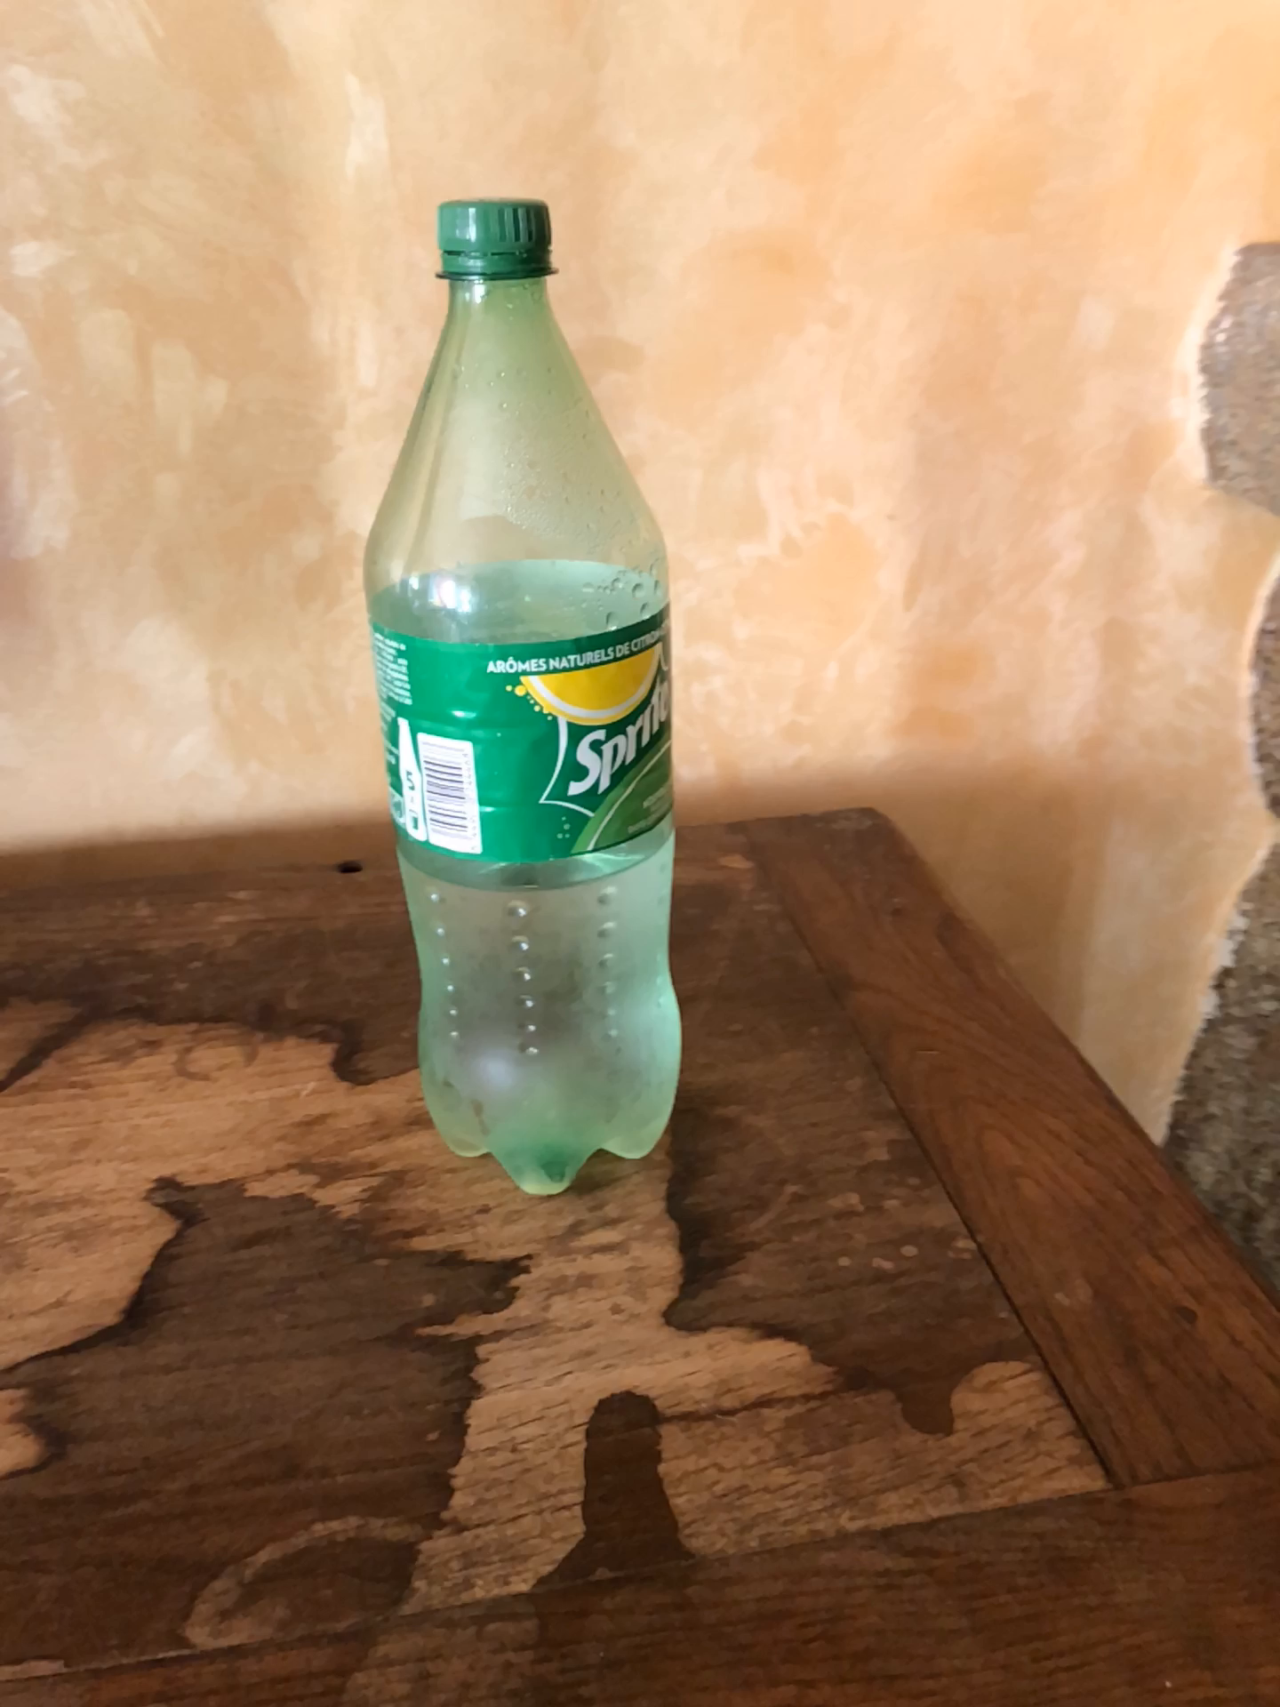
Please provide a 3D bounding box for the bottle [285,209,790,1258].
[{"bbox_3d":[-0.023,-0.034,0.413,0.090,0.278,0.091,0,25,0],"label":"bottle"}]
